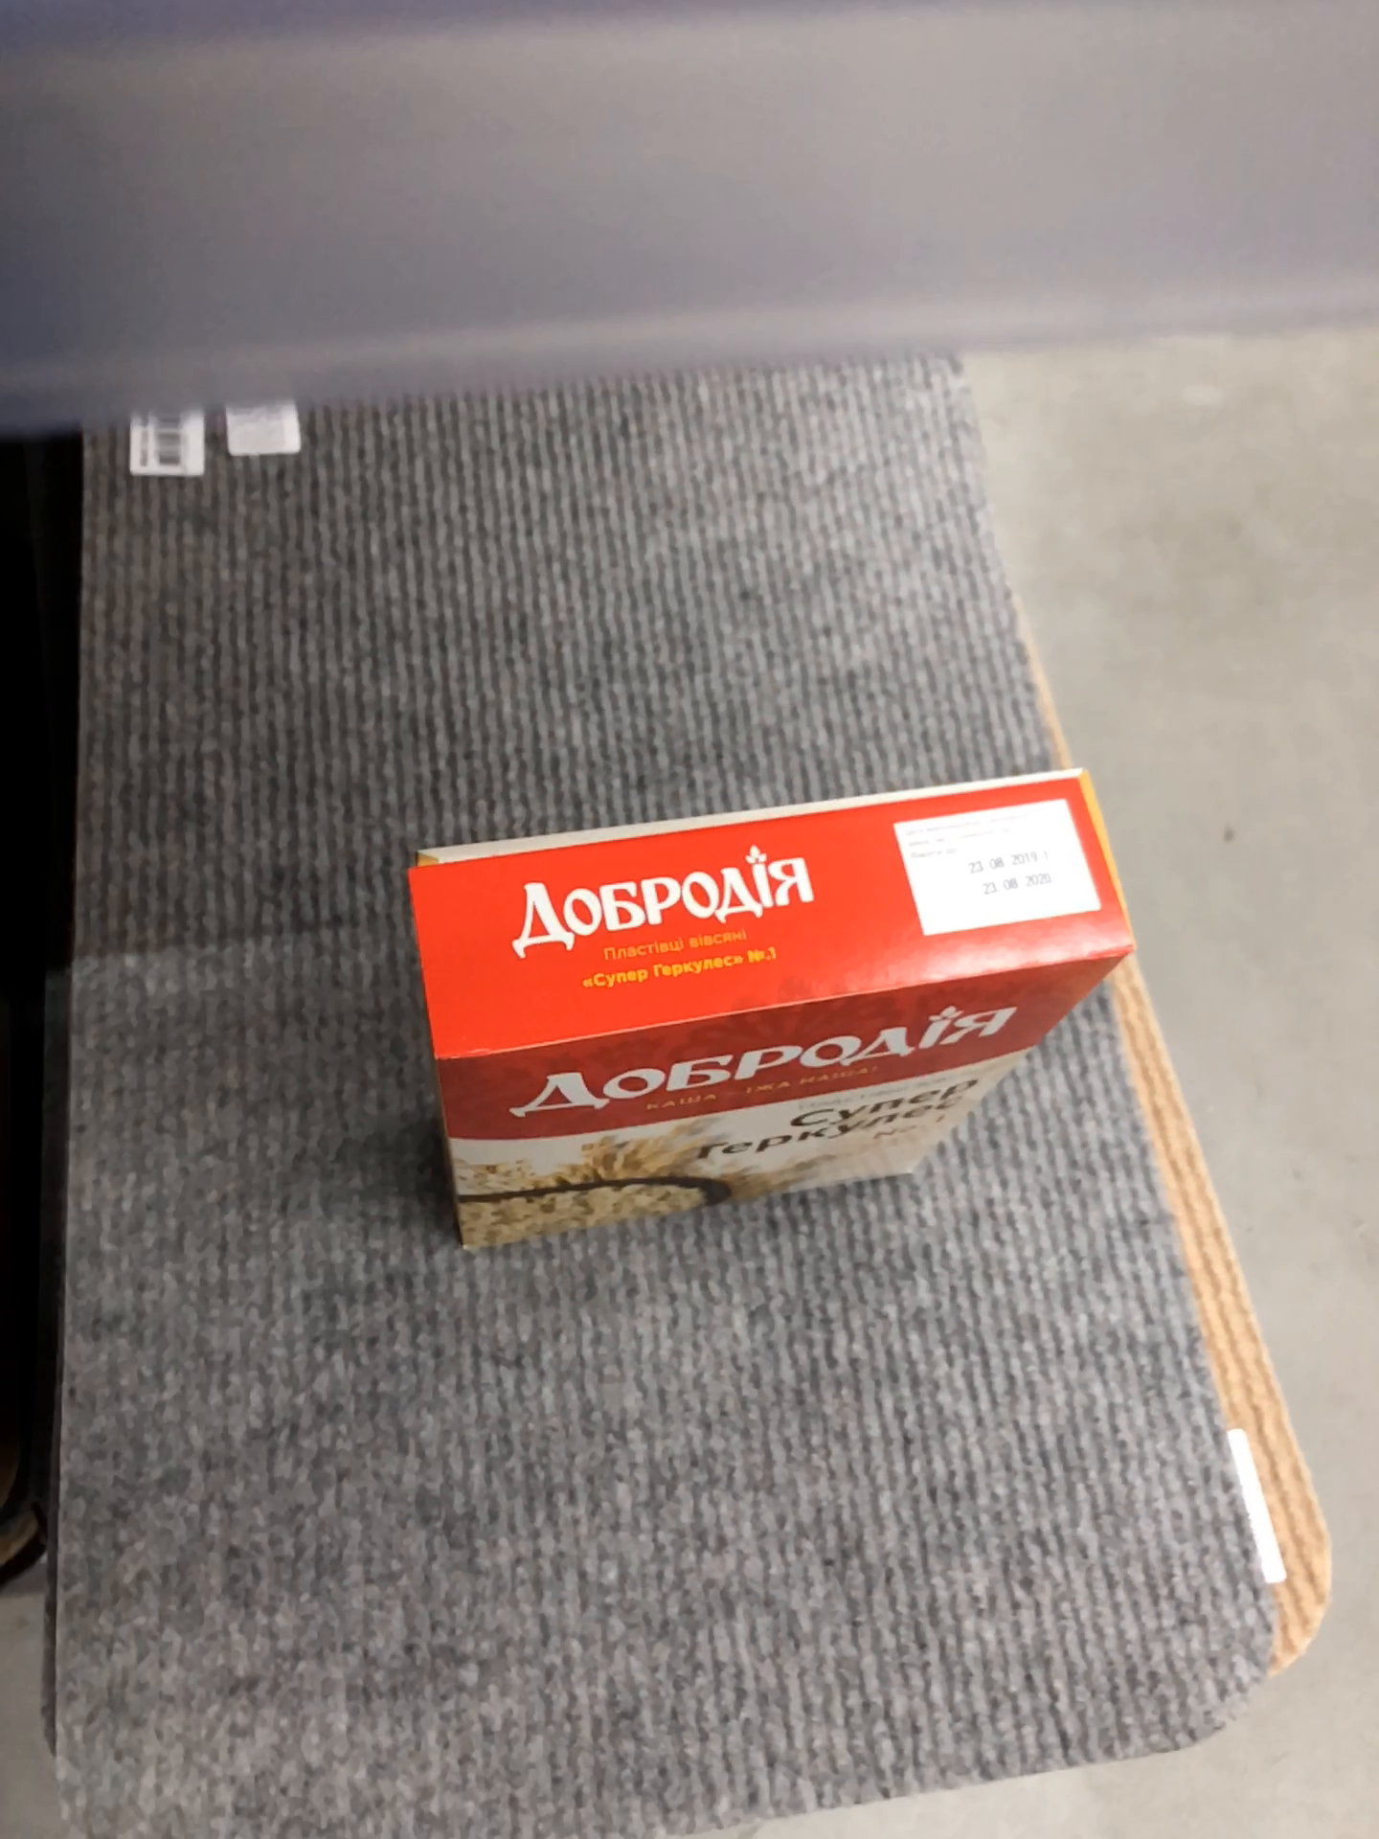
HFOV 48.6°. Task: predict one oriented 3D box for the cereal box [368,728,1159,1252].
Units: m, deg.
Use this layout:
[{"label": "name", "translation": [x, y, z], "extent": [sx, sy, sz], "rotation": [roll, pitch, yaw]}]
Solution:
[{"label": "cereal box", "translation": [0.008, 0.035, 0.466], "extent": [0.180, 0.229, 0.060], "rotation": [-8, 68, -9]}]
